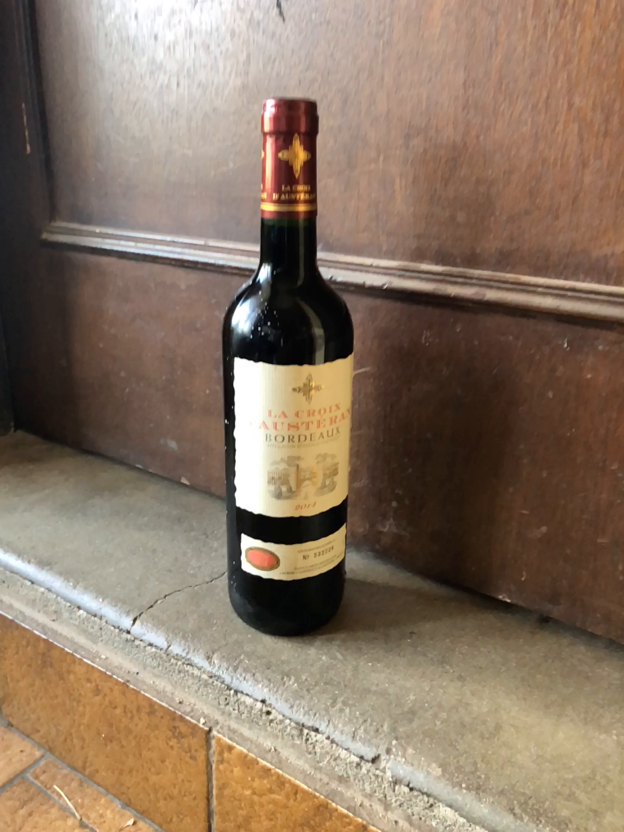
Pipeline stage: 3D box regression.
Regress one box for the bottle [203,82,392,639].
[{"bbox_3d":[-0.014,-0.022,0.374,0.080,0.279,0.080,1,20,-1],"label":"bottle"}]
